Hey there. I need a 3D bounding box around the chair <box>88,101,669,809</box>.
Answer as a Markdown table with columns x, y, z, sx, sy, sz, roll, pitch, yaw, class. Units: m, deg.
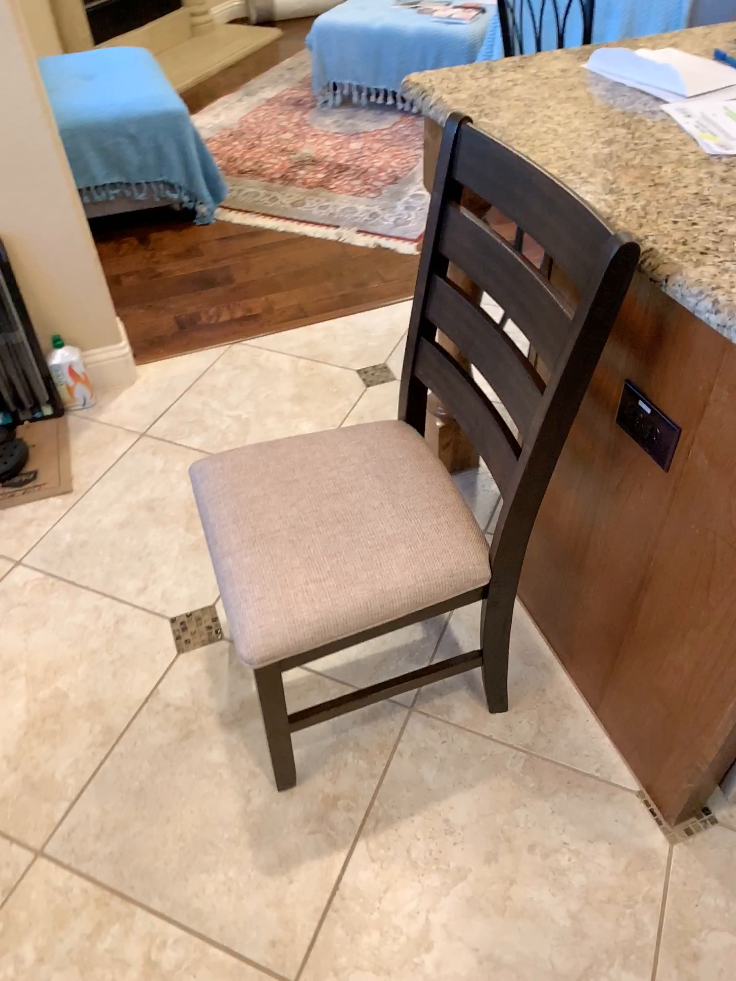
| x | y | z | sx | sy | sz | roll | pitch | yaw | class |
| --- | --- | --- | --- | --- | --- | --- | --- | --- | --- |
| -0.010 | -0.008 | 1.165 | 0.524 | 0.910 | 0.469 | -16 | 46 | -13 | chair |
